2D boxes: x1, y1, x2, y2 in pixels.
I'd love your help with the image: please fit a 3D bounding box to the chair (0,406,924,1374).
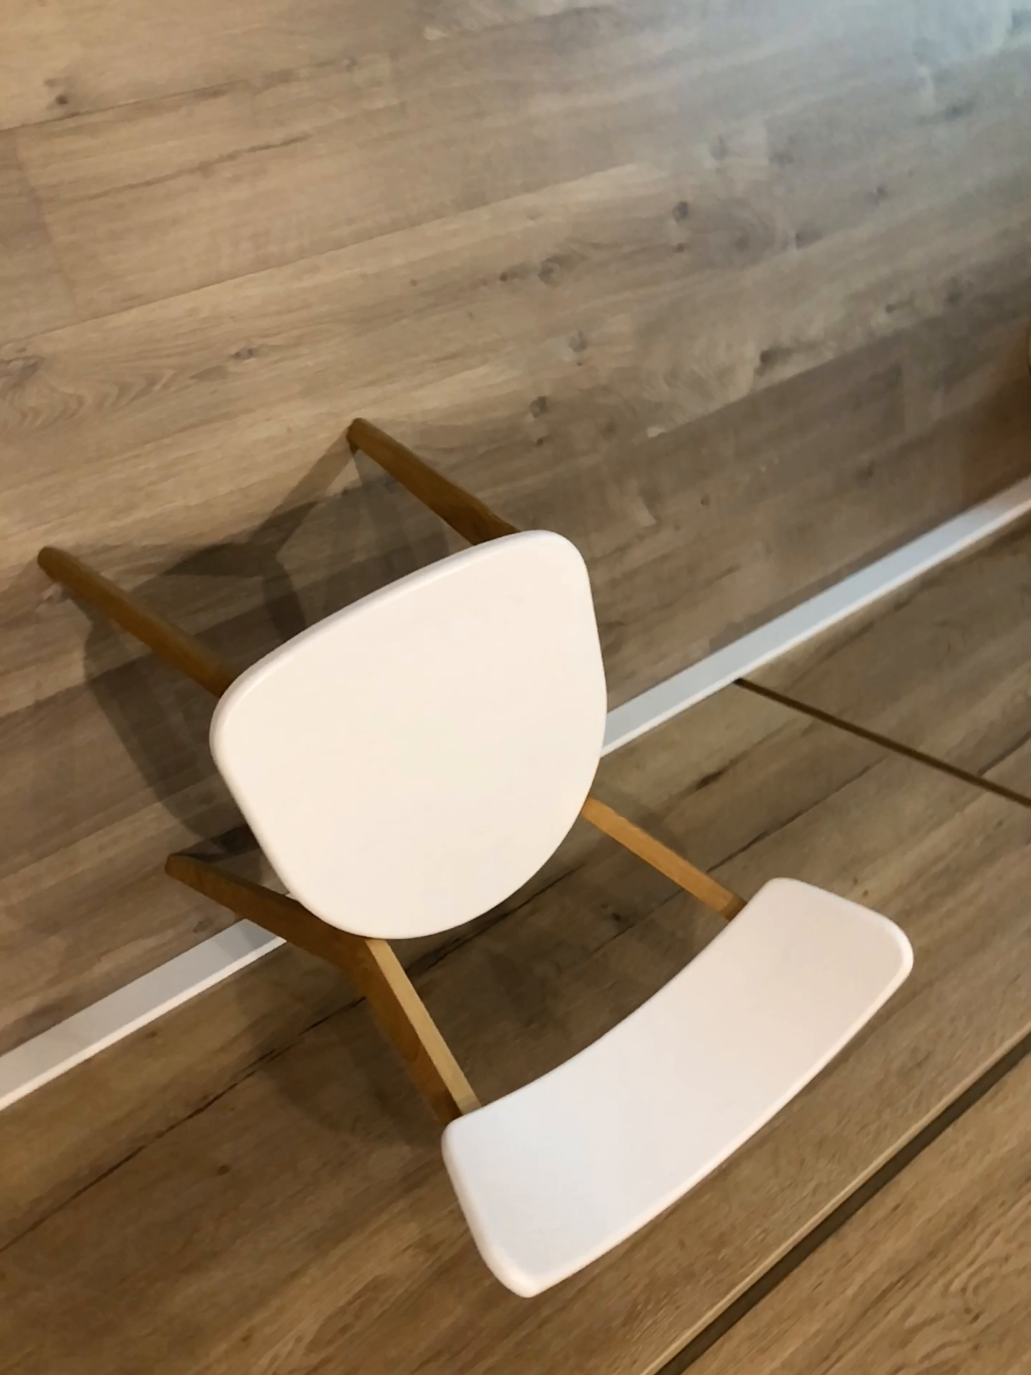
[{"bbox_3d":[-0.097,0.096,1.187,0.501,0.827,0.531,-31,123,-23],"label":"chair"}]
